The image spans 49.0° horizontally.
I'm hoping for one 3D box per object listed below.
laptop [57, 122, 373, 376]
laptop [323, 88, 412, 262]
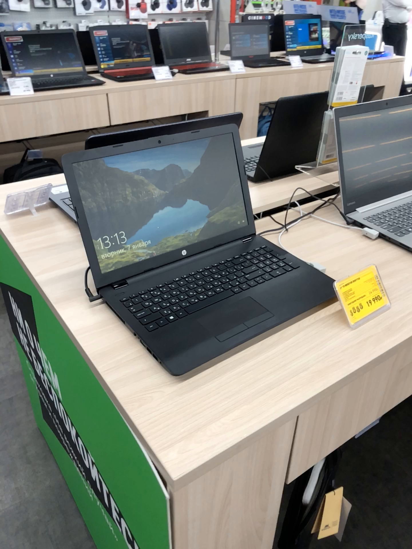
[{"bbox_3d":[0.007,-0.087,0.781,0.377,0.217,0.342,-20,39,-31],"label":"laptop"},{"bbox_3d":[0.542,-0.260,1.055,0.371,0.226,0.340,-19,38,-27],"label":"laptop"}]
